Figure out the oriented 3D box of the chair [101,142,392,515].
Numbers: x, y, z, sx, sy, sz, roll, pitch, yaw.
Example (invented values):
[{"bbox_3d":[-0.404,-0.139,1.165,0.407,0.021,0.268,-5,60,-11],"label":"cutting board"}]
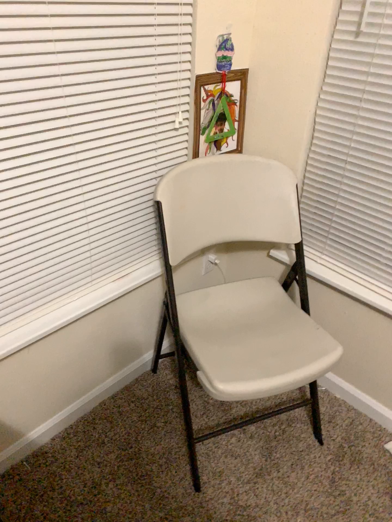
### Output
[{"bbox_3d":[0.098,0.146,1.263,0.610,0.816,0.683,-9,35,-19],"label":"chair"}]
